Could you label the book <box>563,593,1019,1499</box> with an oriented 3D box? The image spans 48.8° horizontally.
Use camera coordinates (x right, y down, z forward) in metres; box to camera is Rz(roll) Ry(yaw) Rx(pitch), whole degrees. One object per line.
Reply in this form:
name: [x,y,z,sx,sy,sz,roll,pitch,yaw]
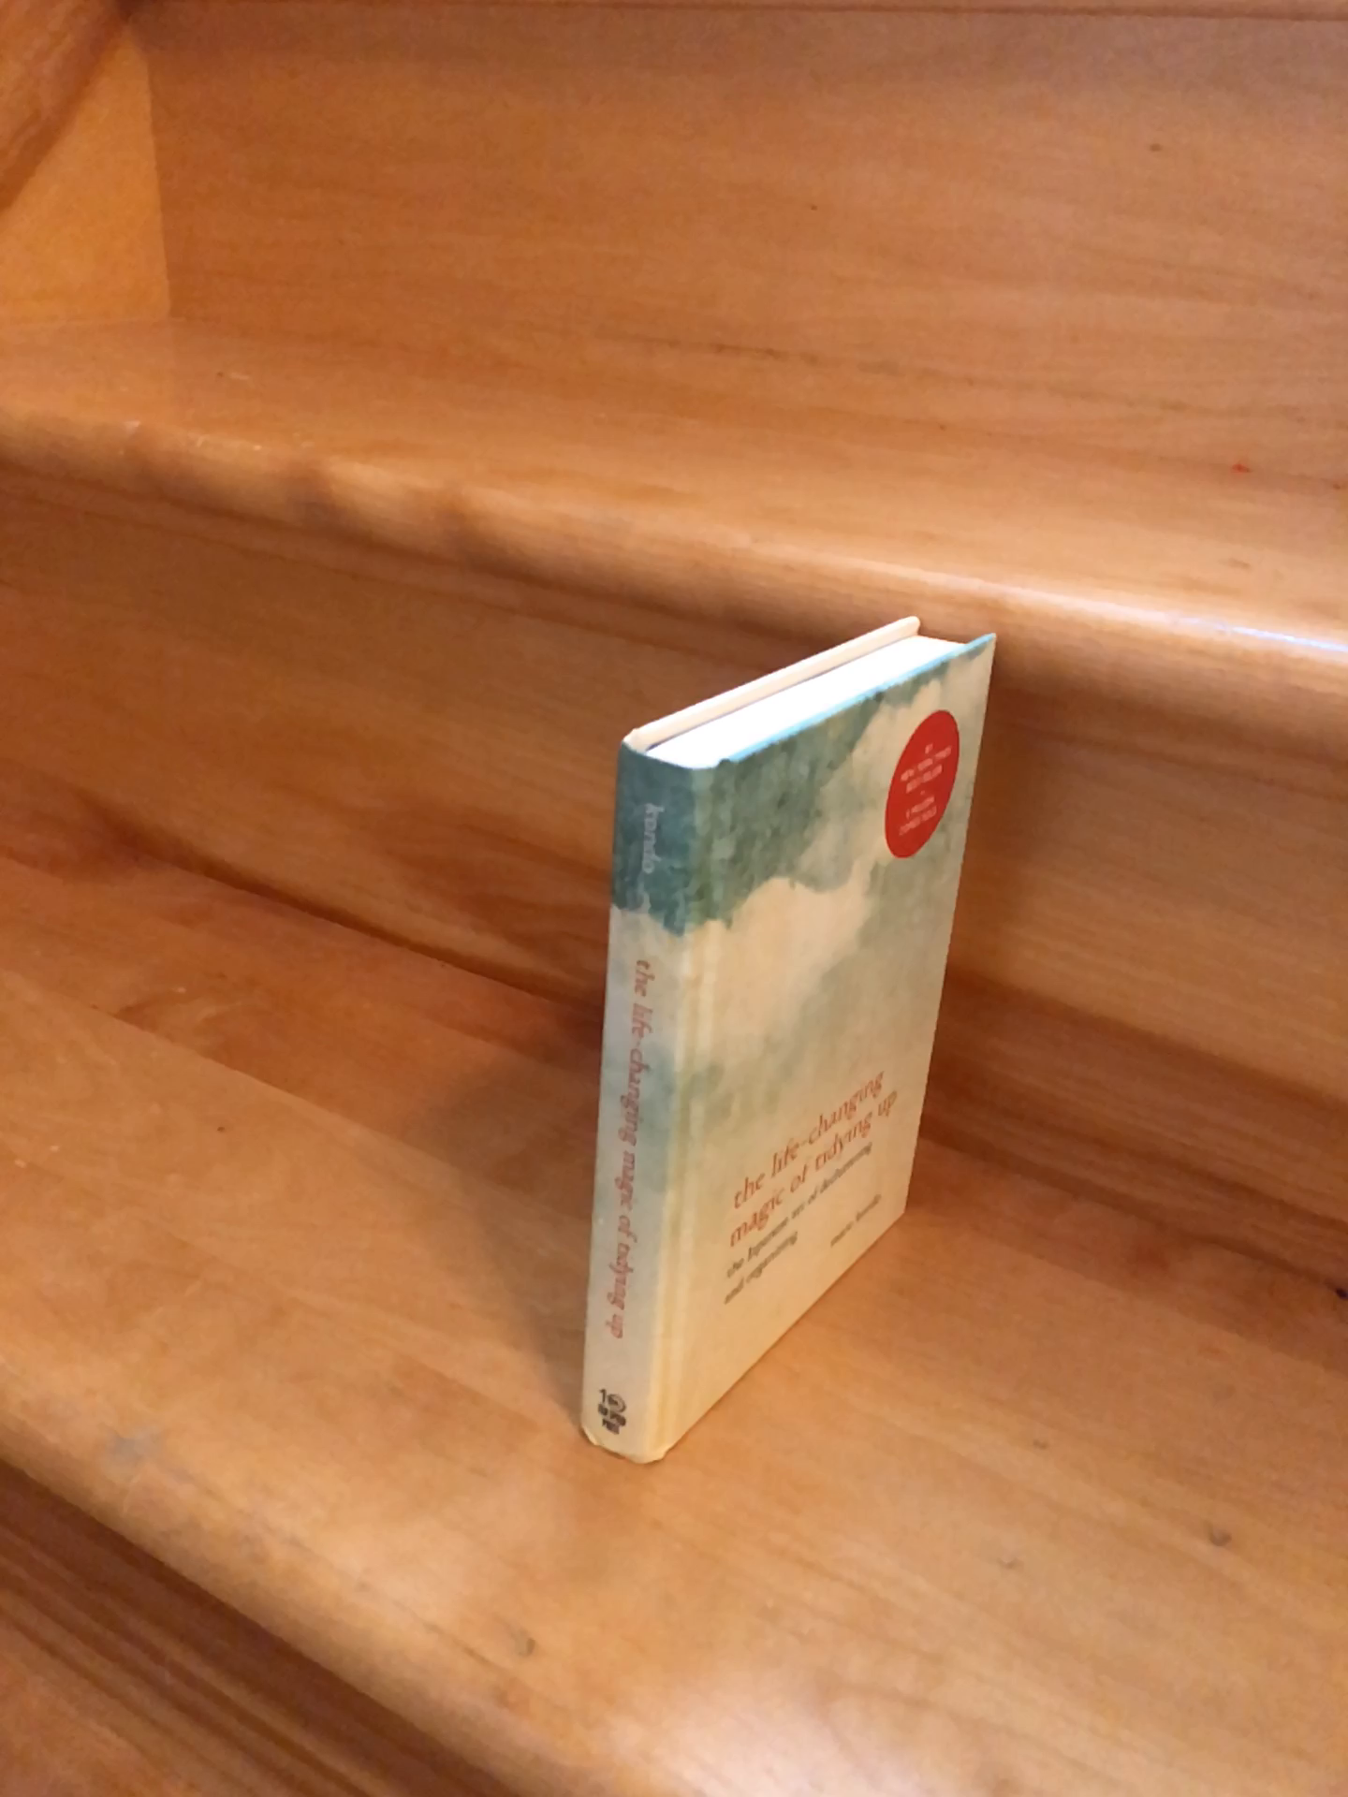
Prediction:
book: [0.031,0.034,0.386,0.027,0.199,0.140,21,31,30]
